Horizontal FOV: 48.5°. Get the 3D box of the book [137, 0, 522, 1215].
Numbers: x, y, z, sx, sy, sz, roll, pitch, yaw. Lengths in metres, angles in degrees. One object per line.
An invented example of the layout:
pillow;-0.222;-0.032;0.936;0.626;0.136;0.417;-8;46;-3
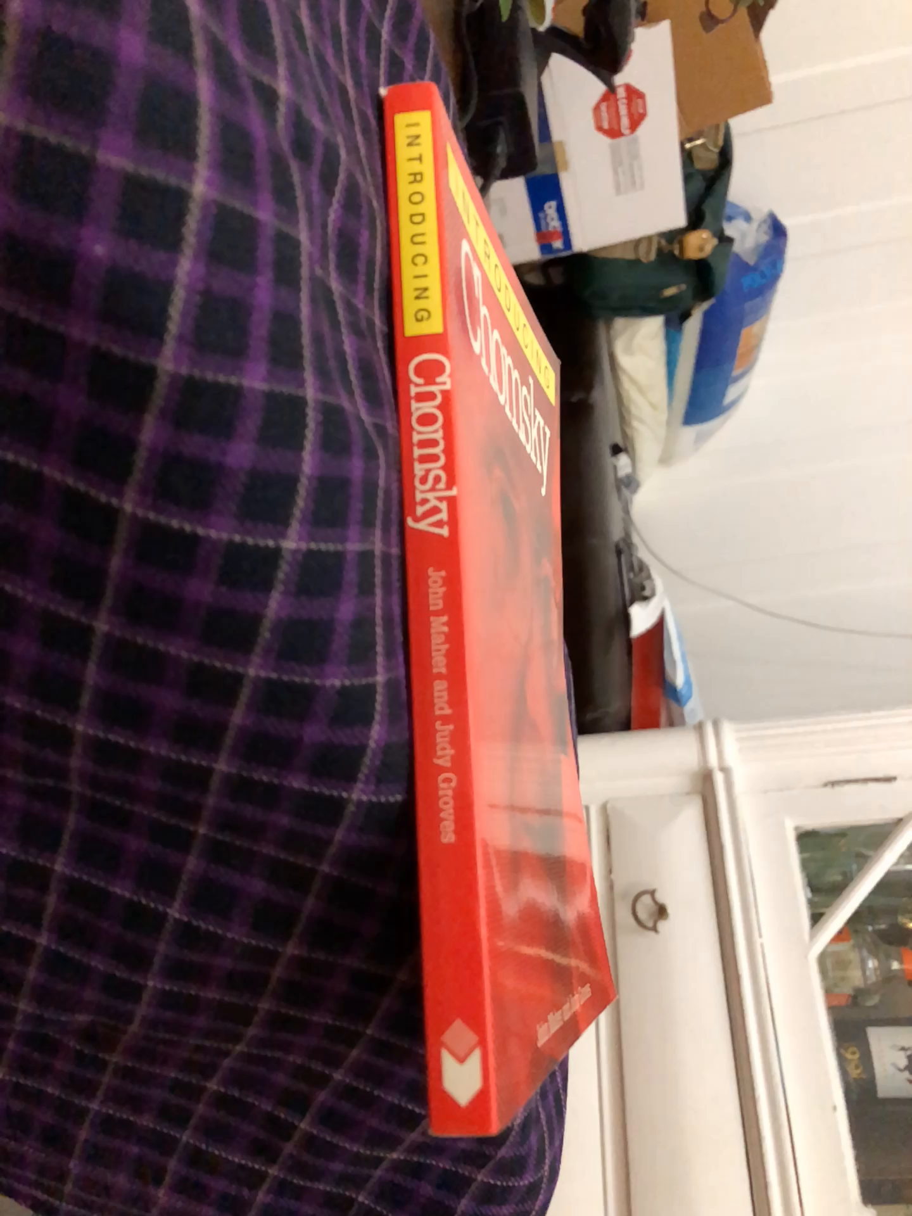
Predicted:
book;-0.020;0.001;0.253;0.180;0.020;0.240;38;46;-73
